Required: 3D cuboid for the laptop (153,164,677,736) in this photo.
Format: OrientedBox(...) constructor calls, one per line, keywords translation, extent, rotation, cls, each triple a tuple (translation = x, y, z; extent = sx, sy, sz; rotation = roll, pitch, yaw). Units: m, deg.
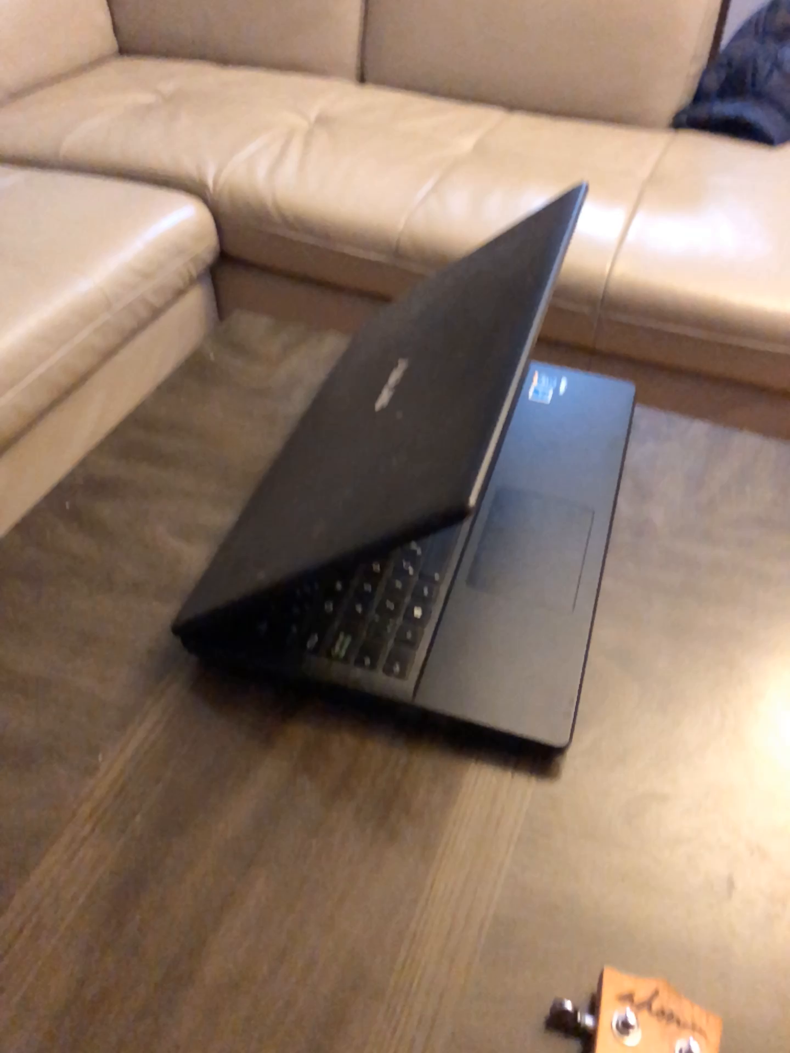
OrientedBox(translation=(0.044, -0.084, 0.610), extent=(0.238, 0.164, 0.374), rotation=(13, 46, 11), cls="laptop")
